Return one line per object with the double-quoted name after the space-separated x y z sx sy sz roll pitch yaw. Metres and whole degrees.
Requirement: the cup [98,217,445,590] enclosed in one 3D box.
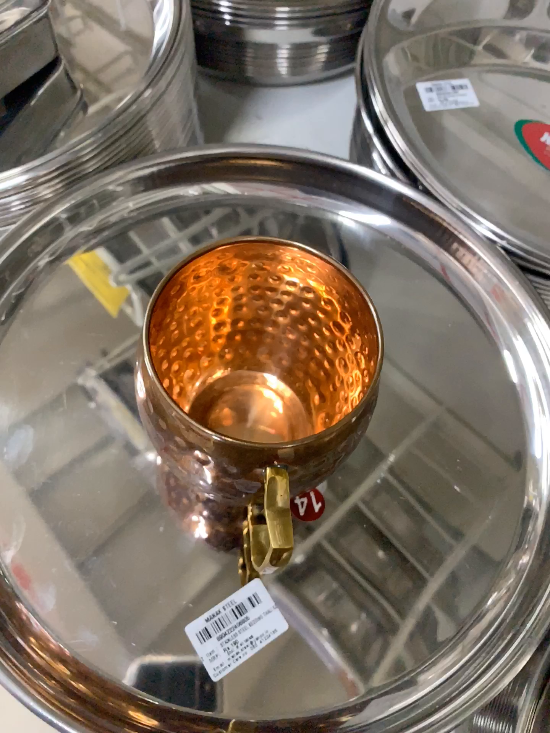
-0.004 0.019 0.213 0.090 0.090 0.110 -2 65 -3 "cup"
